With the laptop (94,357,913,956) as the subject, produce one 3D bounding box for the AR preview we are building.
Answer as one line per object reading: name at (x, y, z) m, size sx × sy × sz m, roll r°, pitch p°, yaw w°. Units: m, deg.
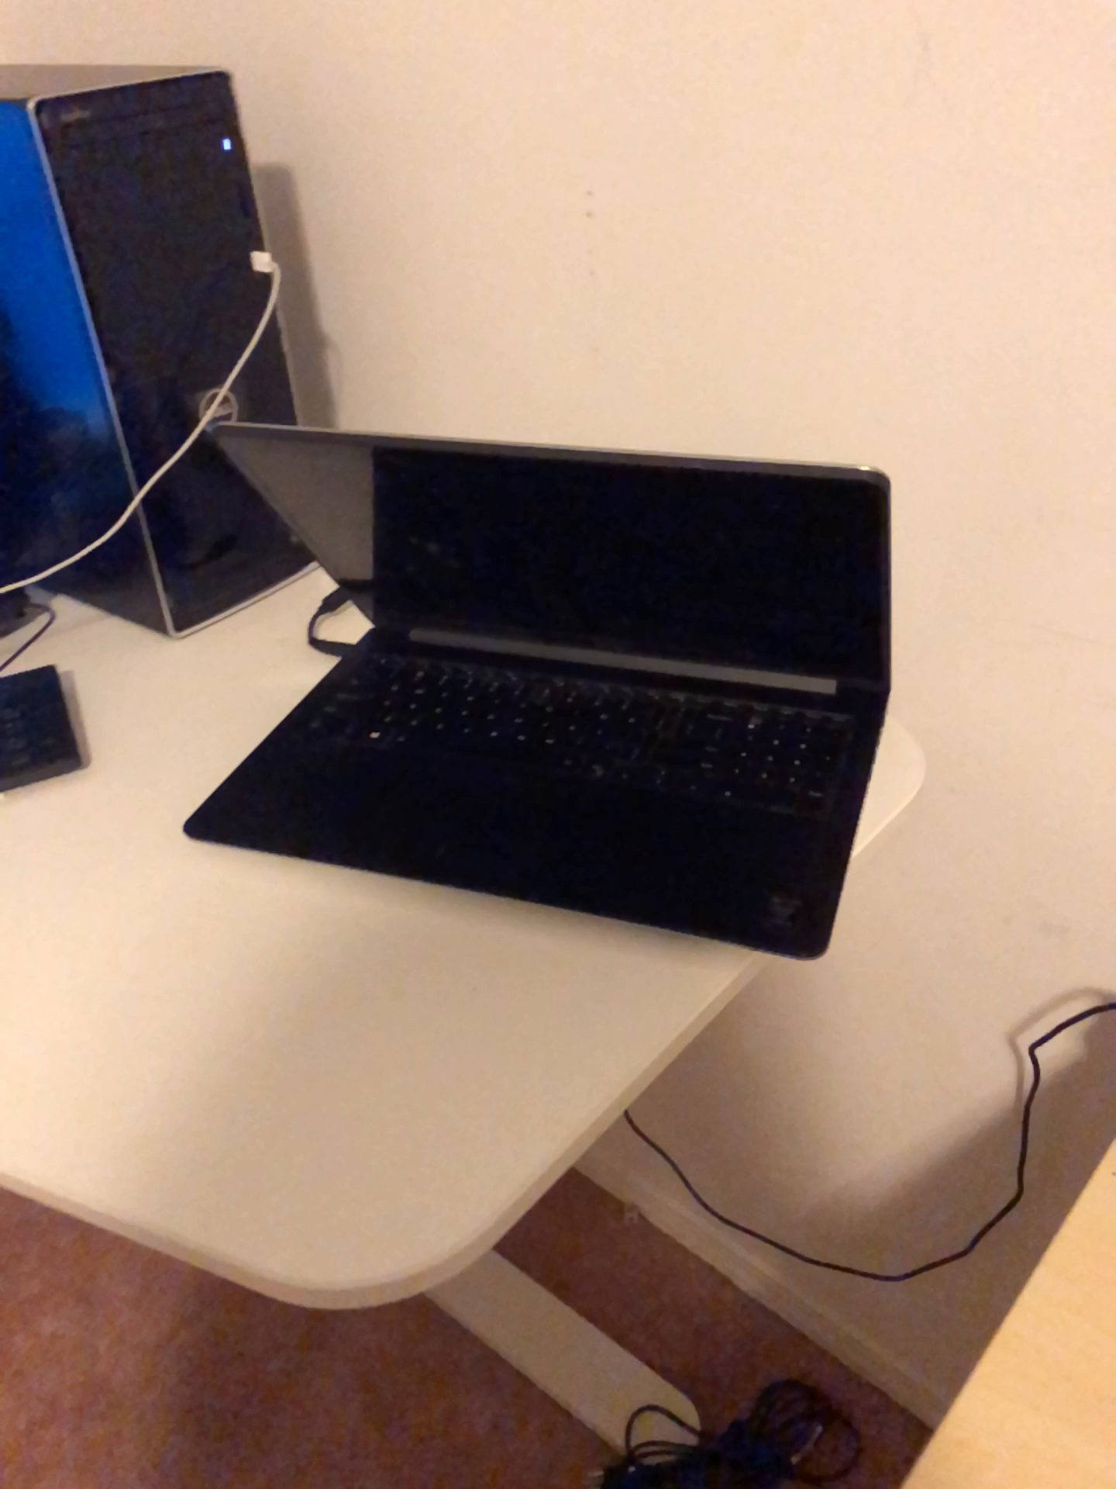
laptop at (-0.011, -0.076, 0.703) m, size 0.373 × 0.207 × 0.252 m, roll 8°, pitch 36°, yaw 19°
